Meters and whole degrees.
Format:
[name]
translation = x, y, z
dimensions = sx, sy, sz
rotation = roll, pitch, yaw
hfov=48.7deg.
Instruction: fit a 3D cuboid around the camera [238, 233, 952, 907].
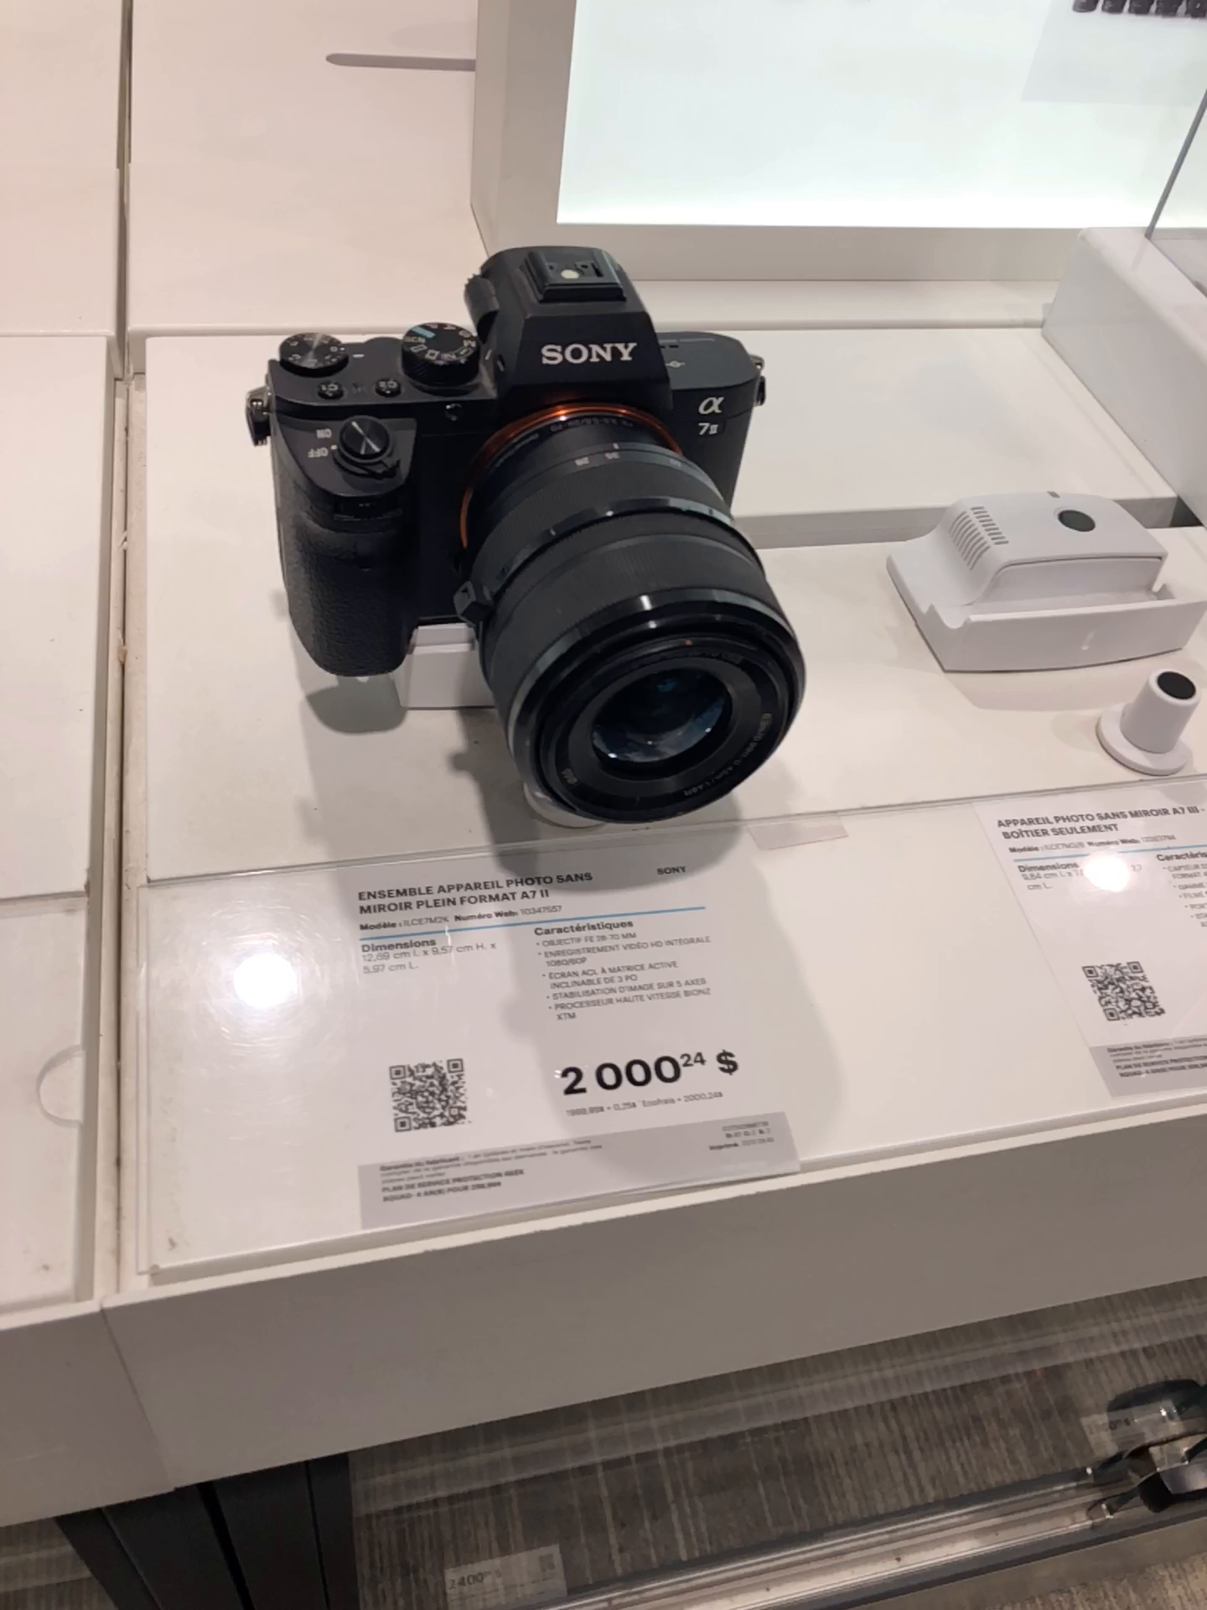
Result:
[camera]
translation = -0.014, -0.065, 0.339
dimensions = 0.134, 0.099, 0.131
rotation = -7, 49, -15
